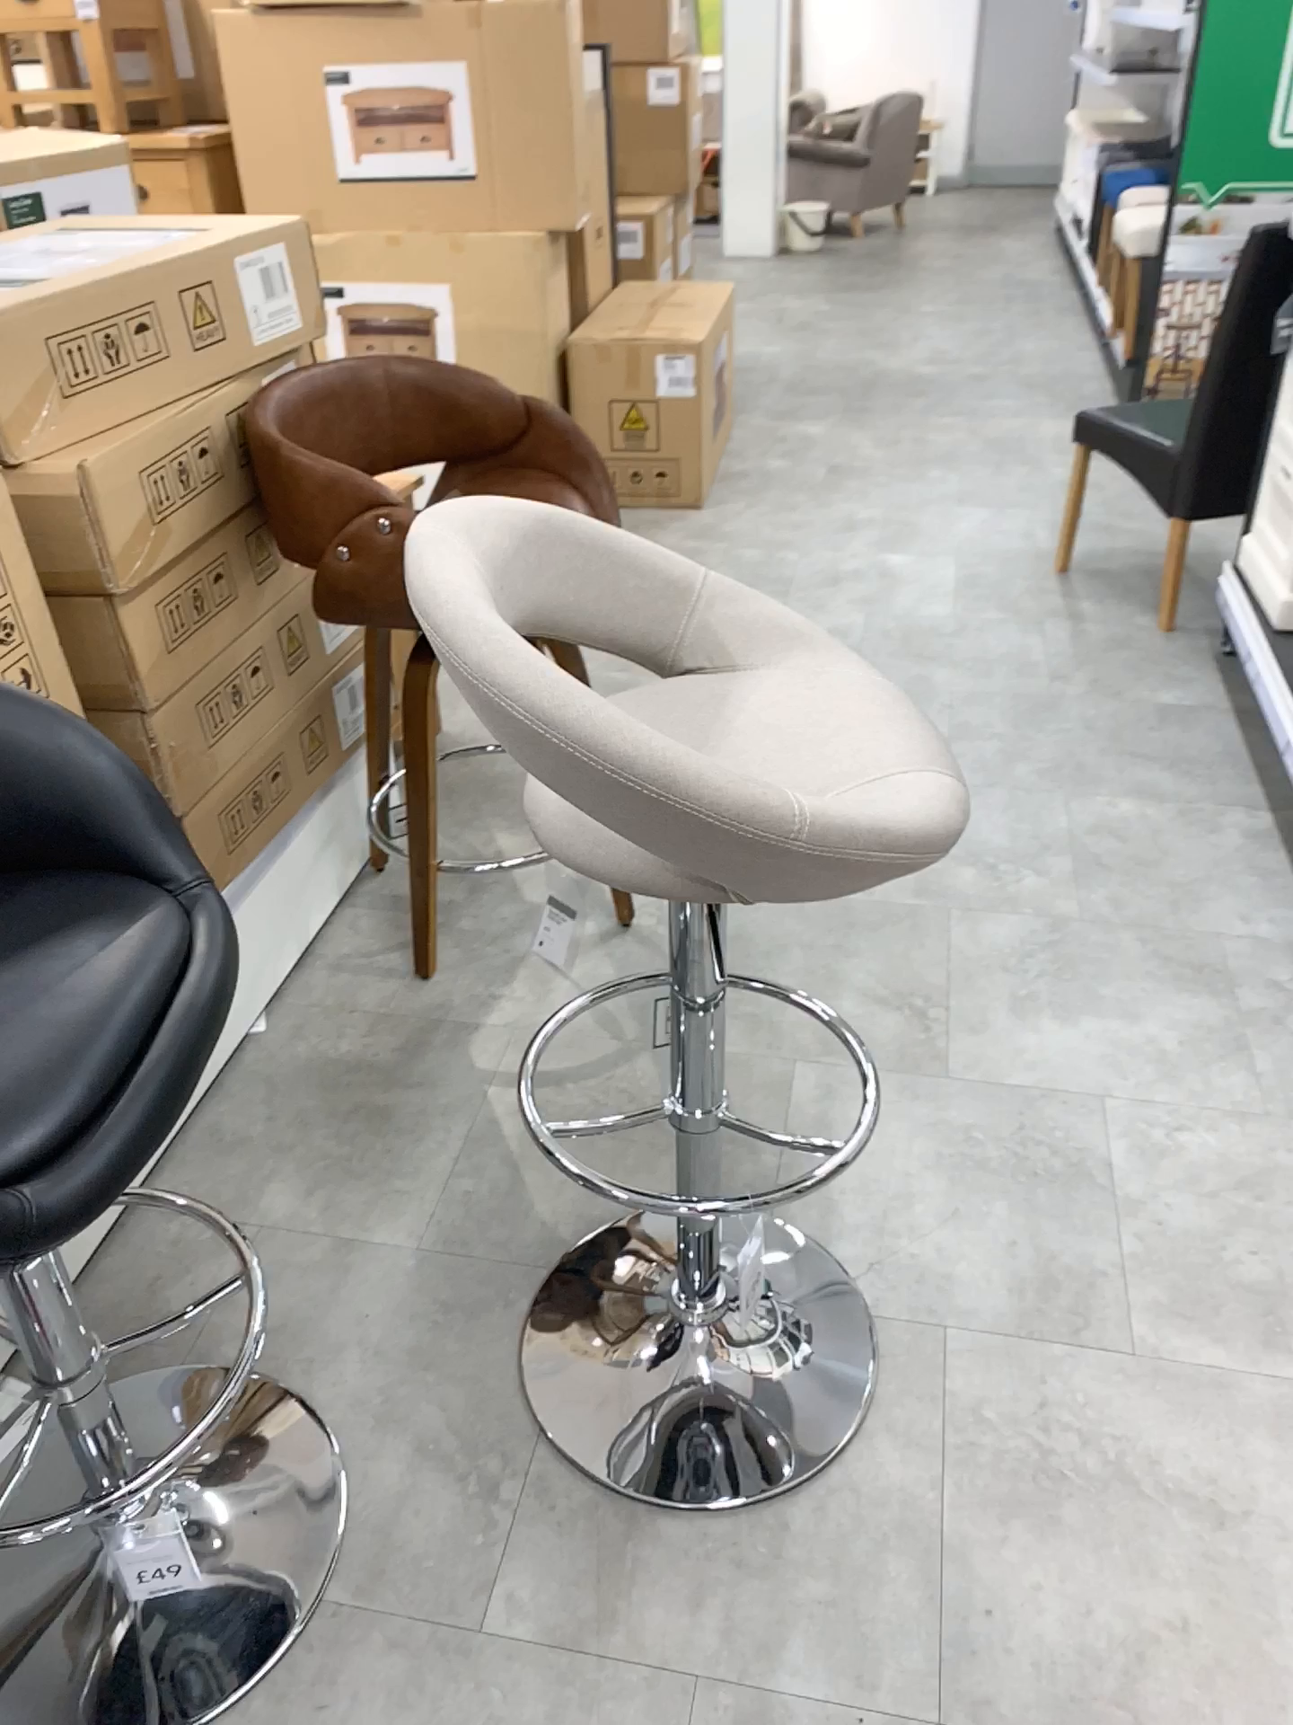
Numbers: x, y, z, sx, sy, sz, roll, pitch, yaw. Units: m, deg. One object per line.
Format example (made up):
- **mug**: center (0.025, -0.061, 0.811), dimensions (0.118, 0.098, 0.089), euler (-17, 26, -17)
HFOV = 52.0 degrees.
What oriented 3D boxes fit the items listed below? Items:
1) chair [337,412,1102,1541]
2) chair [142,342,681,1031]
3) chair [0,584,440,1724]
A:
- **chair**: center (0.058, 0.122, 1.333), dimensions (0.483, 0.963, 0.571), euler (-2, 32, 1)
- **chair**: center (-0.302, -0.294, 2.085), dimensions (0.544, 0.864, 0.520), euler (12, 35, 21)
- **chair**: center (-0.515, 0.305, 1.137), dimensions (0.483, 0.933, 0.521), euler (0, 32, 4)
